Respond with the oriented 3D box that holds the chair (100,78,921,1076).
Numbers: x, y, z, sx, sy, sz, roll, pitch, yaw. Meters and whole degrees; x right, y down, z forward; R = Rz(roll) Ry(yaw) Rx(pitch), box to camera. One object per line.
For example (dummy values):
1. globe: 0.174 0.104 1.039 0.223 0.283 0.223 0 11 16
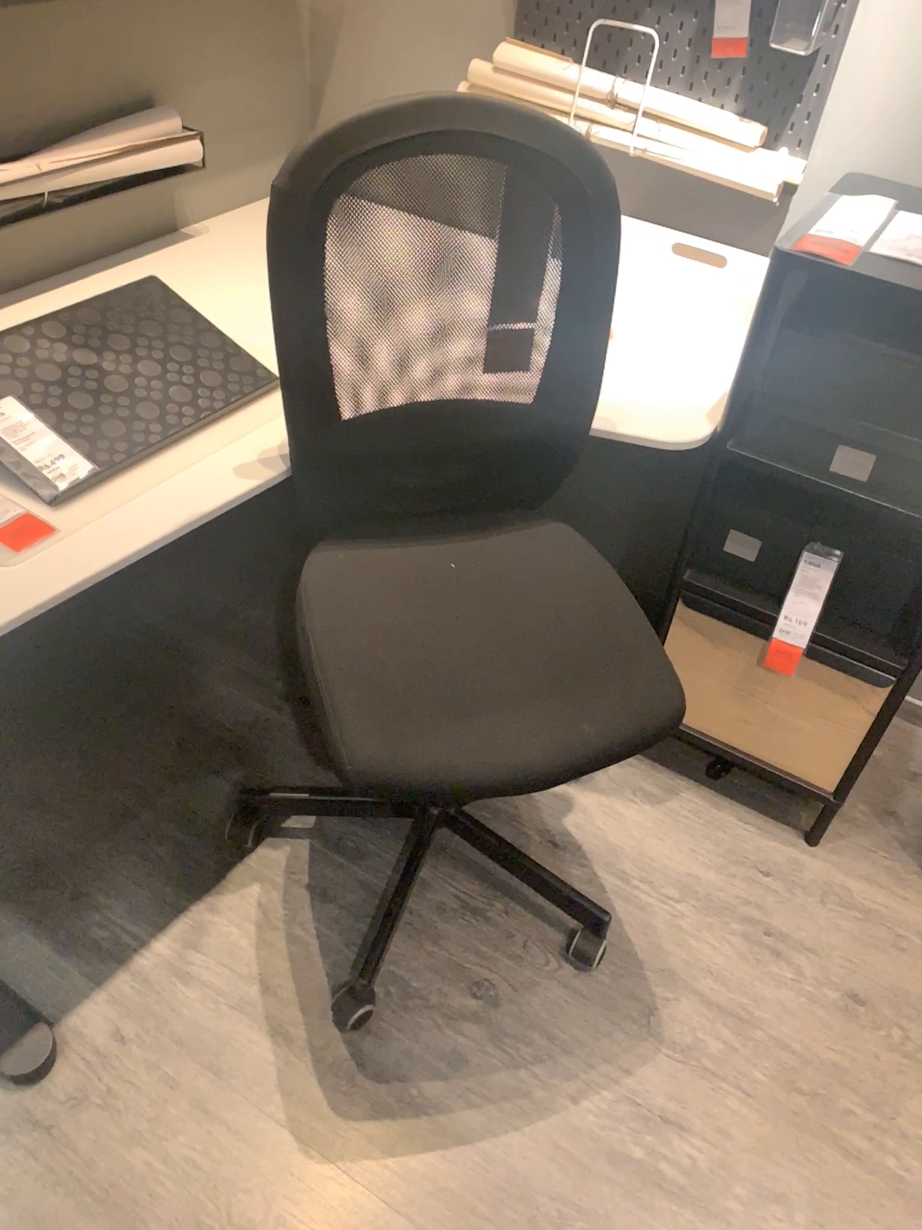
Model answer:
1. chair: -0.023 -0.047 1.238 0.690 0.996 0.713 -8 44 -16
